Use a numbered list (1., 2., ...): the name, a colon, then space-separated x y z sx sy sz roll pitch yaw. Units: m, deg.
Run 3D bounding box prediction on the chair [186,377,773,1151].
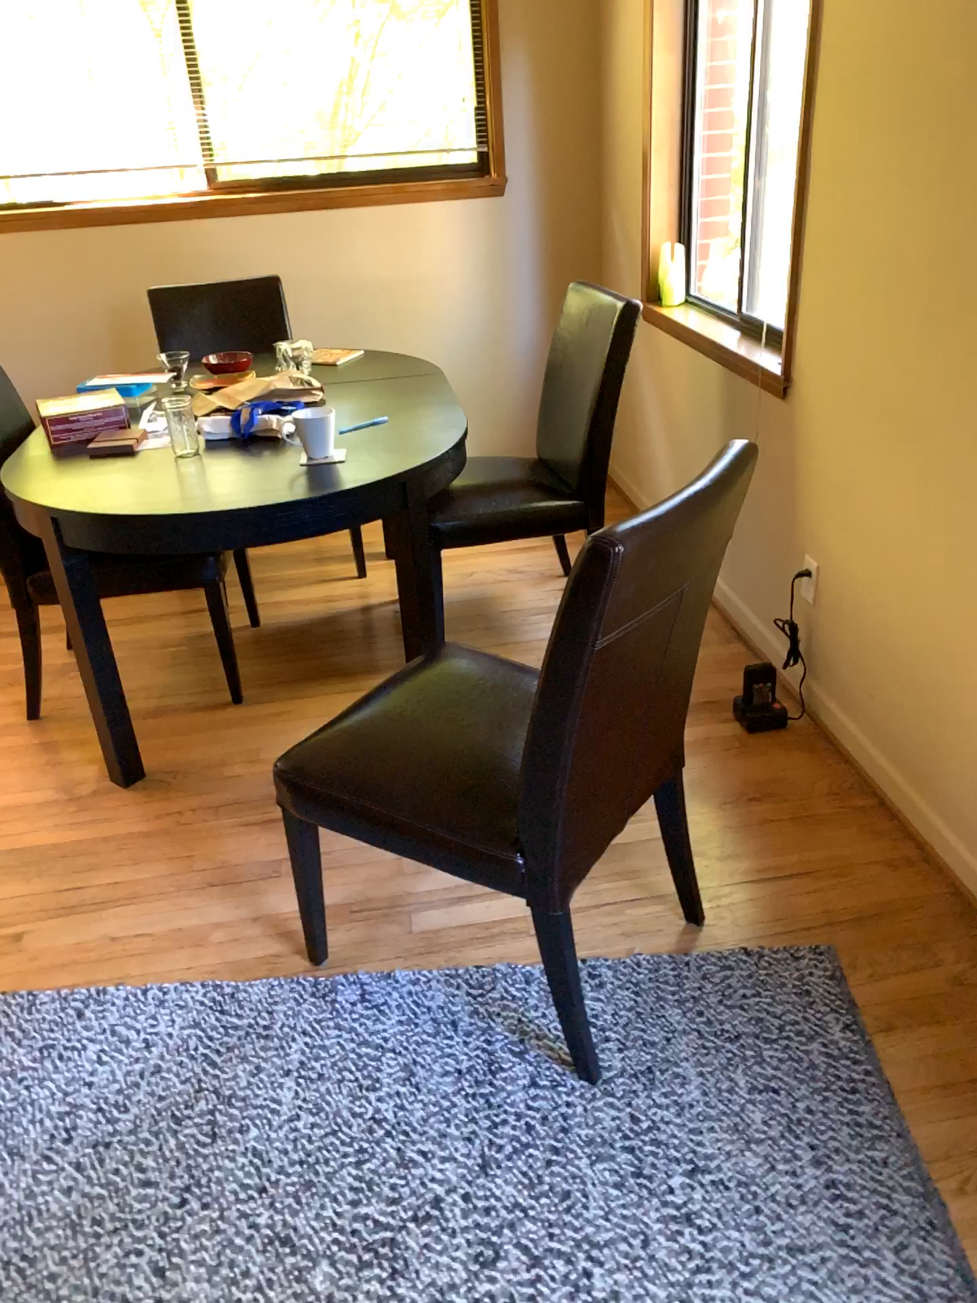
1. chair: 0.029 0.139 1.699 0.672 1.034 0.561 13 32 30
